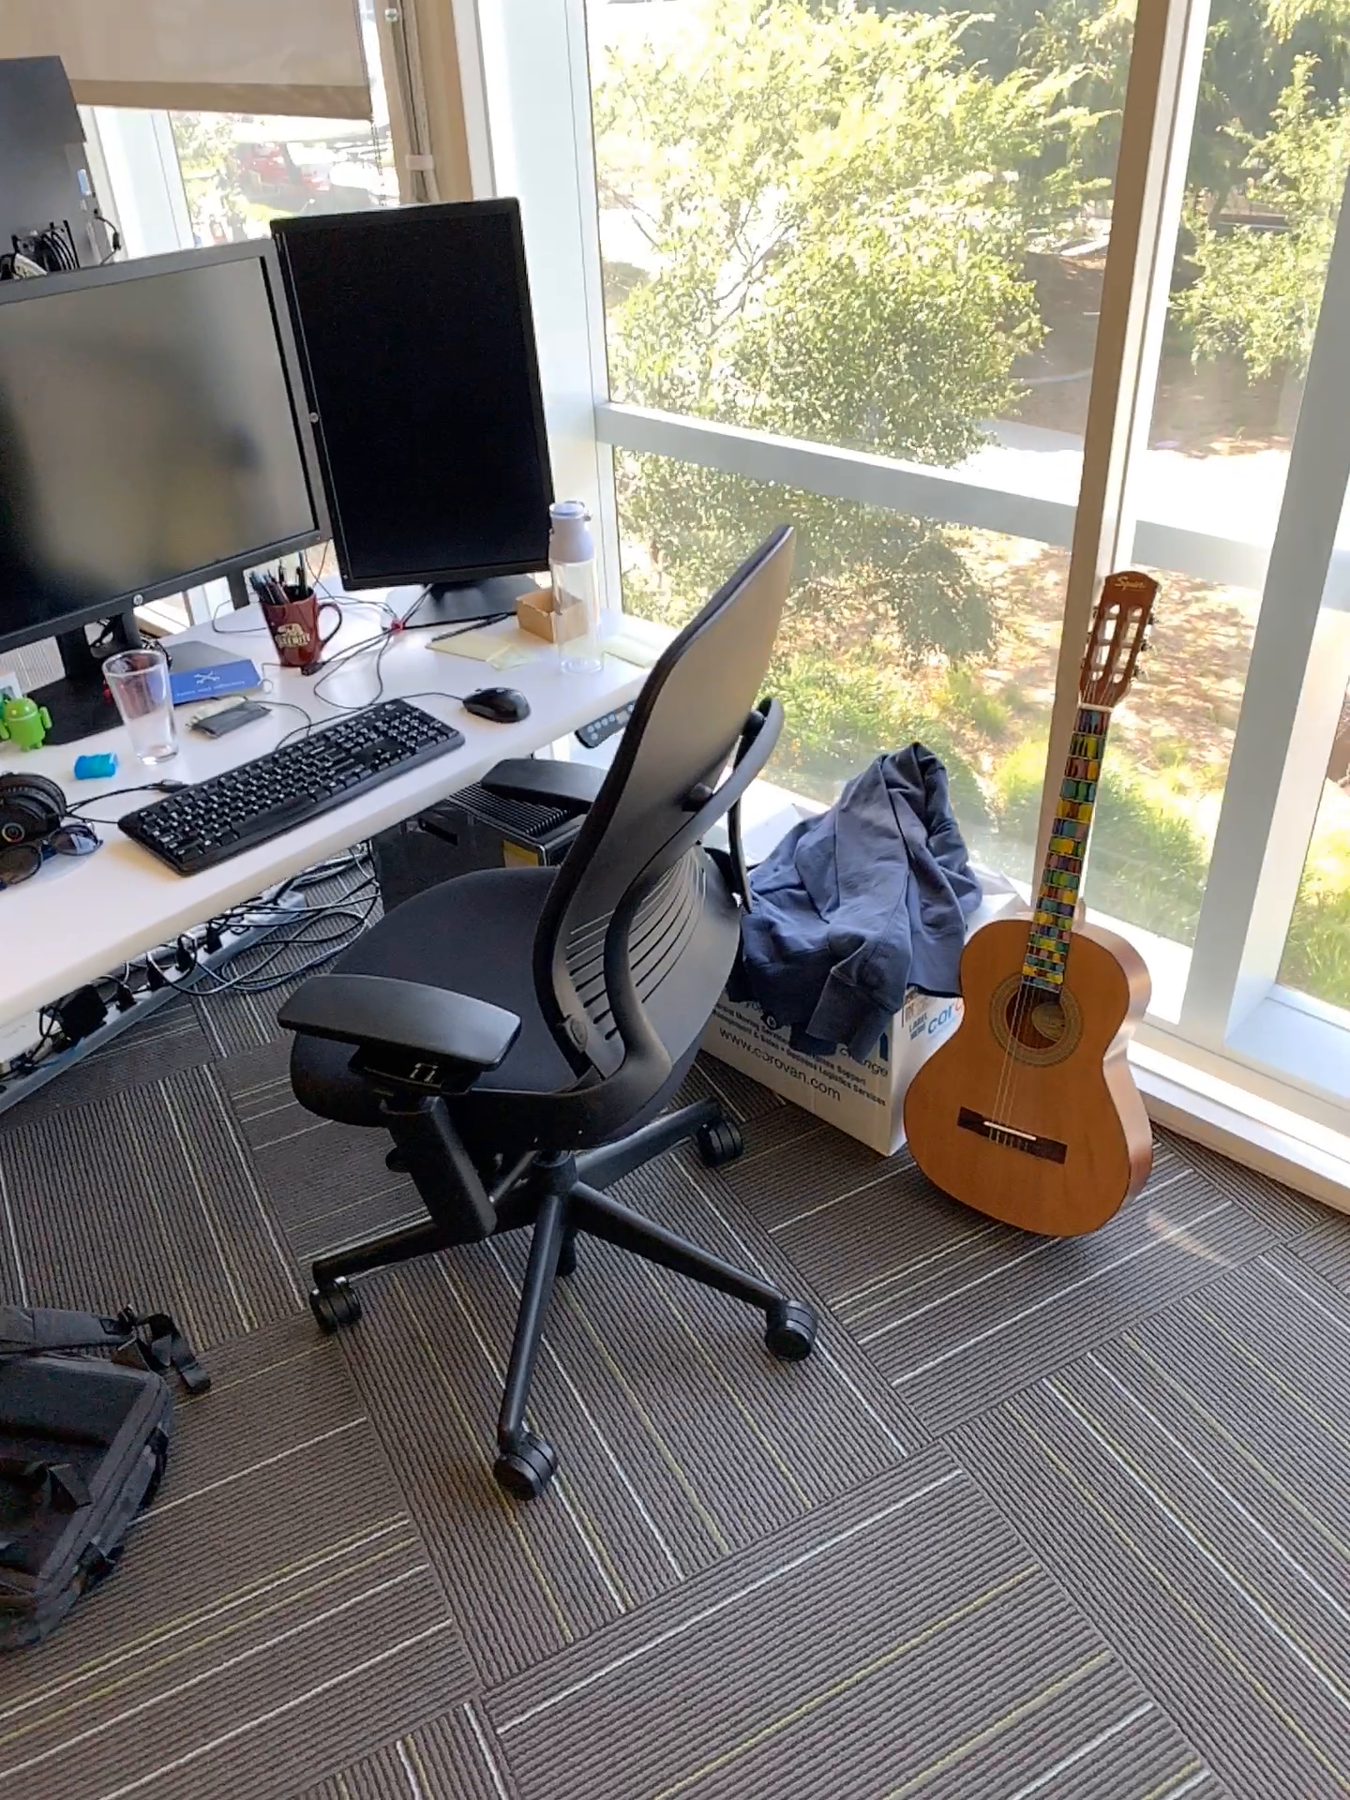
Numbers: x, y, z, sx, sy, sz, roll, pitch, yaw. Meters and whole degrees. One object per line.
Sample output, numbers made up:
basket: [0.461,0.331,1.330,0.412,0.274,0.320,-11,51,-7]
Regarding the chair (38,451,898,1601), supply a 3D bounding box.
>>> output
chair: [-0.127,0.149,1.777,0.691,1.223,0.713,6,34,13]
